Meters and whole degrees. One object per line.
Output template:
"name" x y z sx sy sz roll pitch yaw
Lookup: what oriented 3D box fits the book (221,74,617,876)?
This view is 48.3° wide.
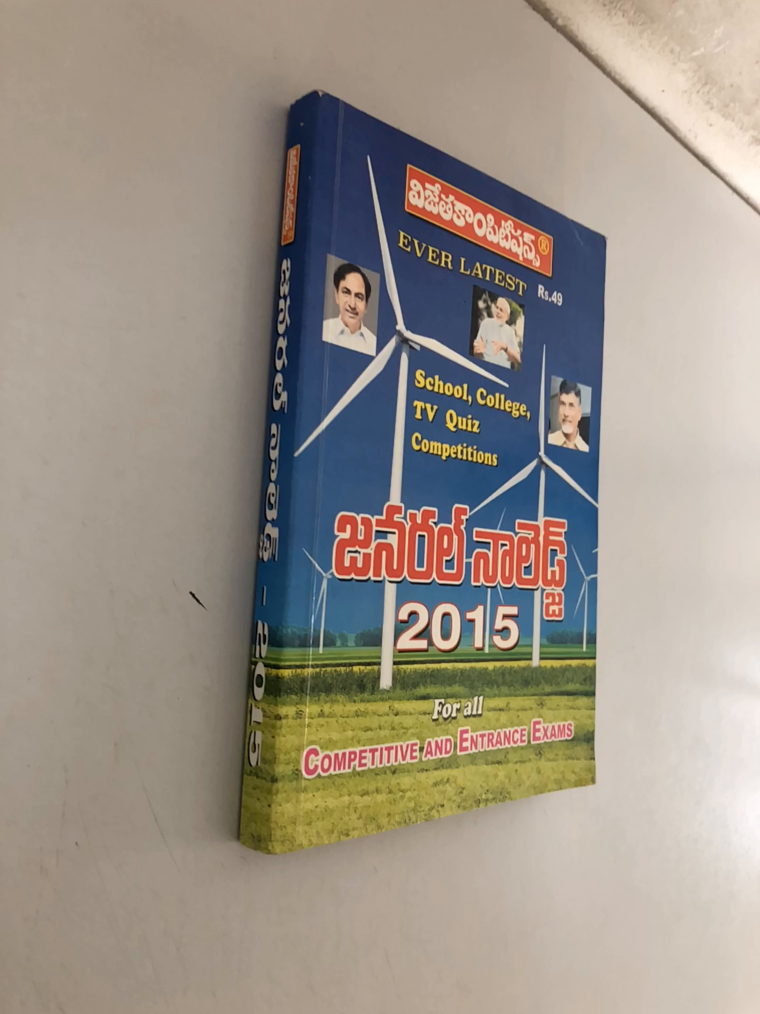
"book" 0.021 -0.005 0.243 0.130 0.022 0.182 7 83 -42
